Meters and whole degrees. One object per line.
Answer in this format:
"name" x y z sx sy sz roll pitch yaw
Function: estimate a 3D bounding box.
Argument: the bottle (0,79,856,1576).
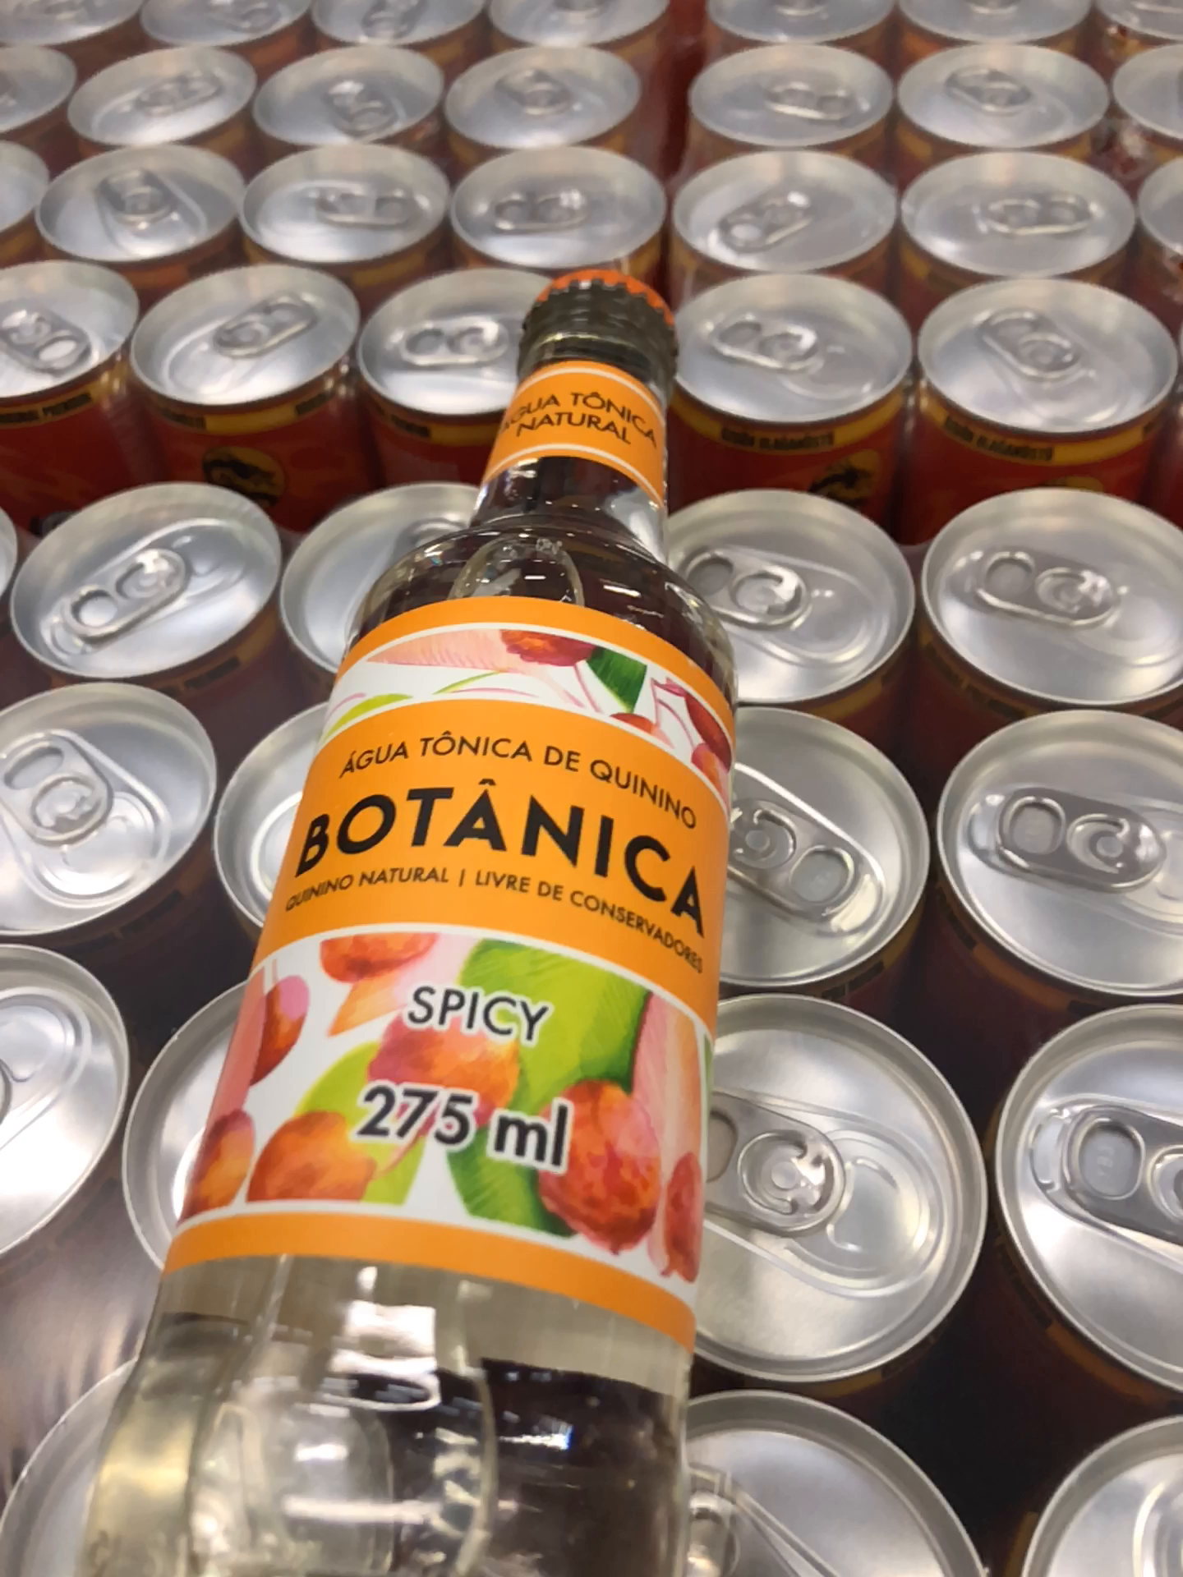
"bottle" -0.005 -0.007 0.168 0.070 0.050 0.211 3 57 6
